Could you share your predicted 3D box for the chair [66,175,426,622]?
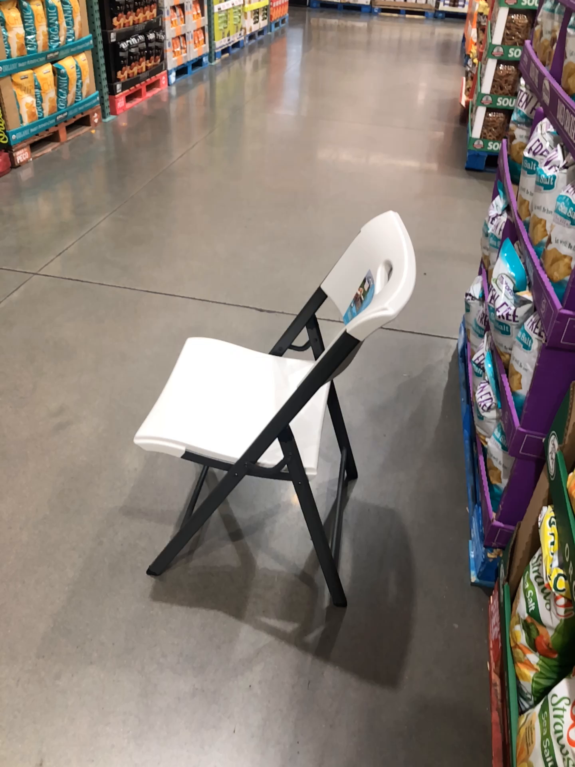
[{"bbox_3d":[-0.049,0.028,1.468,0.594,0.790,0.548,8,36,6],"label":"chair"}]
